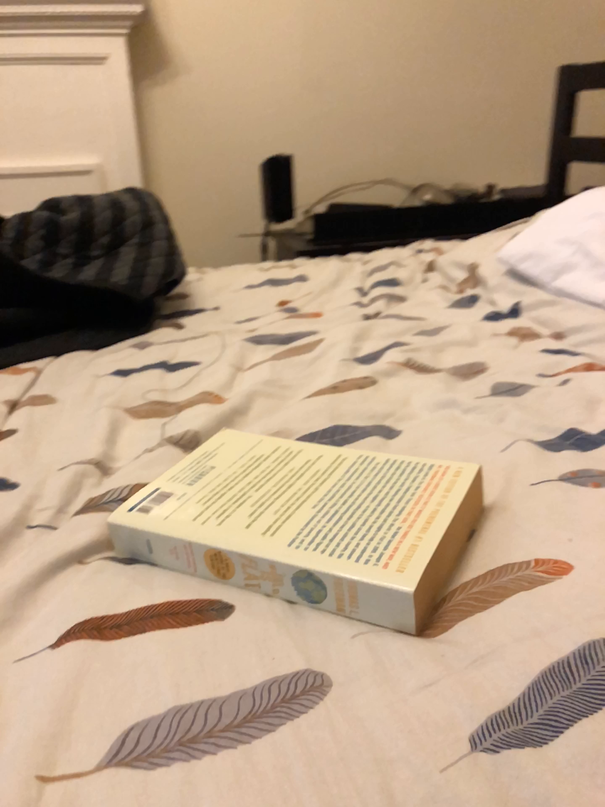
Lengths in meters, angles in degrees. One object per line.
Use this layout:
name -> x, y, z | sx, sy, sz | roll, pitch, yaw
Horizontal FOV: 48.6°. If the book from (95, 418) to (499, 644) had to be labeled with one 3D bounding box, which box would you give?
book -> 0.003, 0.067, 0.442 | 0.220, 0.040, 0.151 | 7, 21, 24
